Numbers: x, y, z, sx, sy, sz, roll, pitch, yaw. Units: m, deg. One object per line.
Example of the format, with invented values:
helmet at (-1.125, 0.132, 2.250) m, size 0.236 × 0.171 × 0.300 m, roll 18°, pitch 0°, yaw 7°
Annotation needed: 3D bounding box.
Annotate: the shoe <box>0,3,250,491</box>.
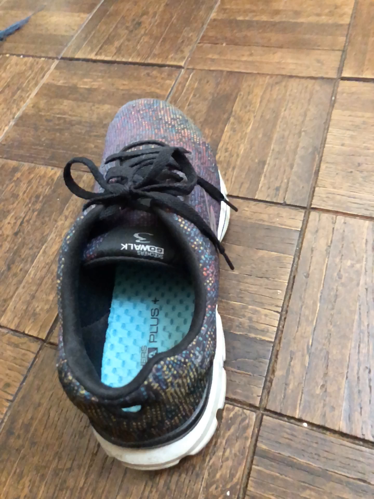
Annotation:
shoe at (-0.026, -0.014, 0.270) m, size 0.110 × 0.120 × 0.290 m, roll -4°, pitch 58°, yaw 7°
